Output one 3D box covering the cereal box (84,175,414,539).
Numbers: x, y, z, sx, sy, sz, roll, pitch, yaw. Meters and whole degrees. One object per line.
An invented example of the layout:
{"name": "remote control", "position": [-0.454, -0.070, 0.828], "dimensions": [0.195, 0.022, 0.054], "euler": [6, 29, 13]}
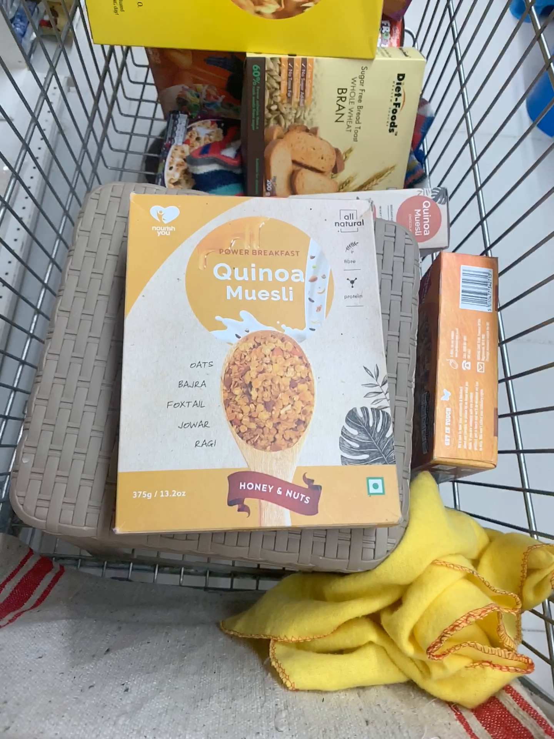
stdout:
{"name": "cereal box", "position": [-0.018, -0.005, 0.344], "dimensions": [0.160, 0.080, 0.200], "euler": [-1, 73, -5]}
